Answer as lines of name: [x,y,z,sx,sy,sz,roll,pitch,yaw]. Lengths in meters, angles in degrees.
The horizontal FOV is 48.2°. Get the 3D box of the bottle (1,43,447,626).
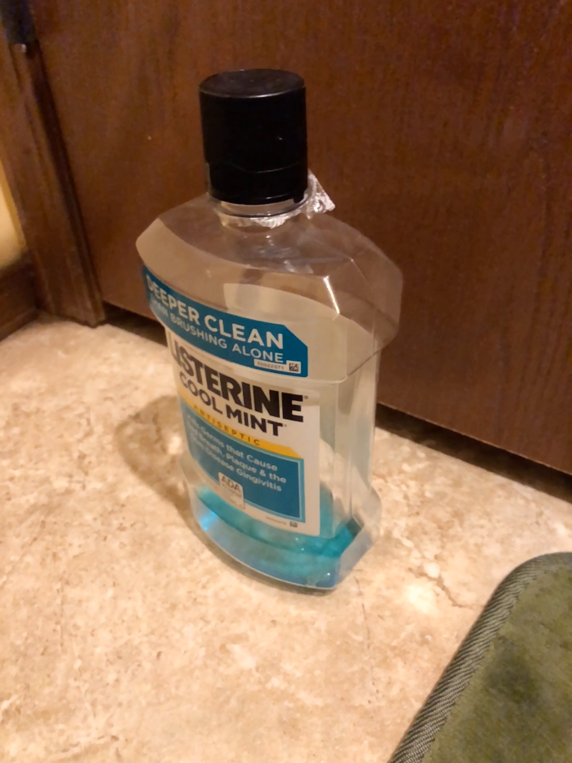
bottle: [-0.020,-0.017,0.293,0.130,0.219,0.090,26,47,31]
